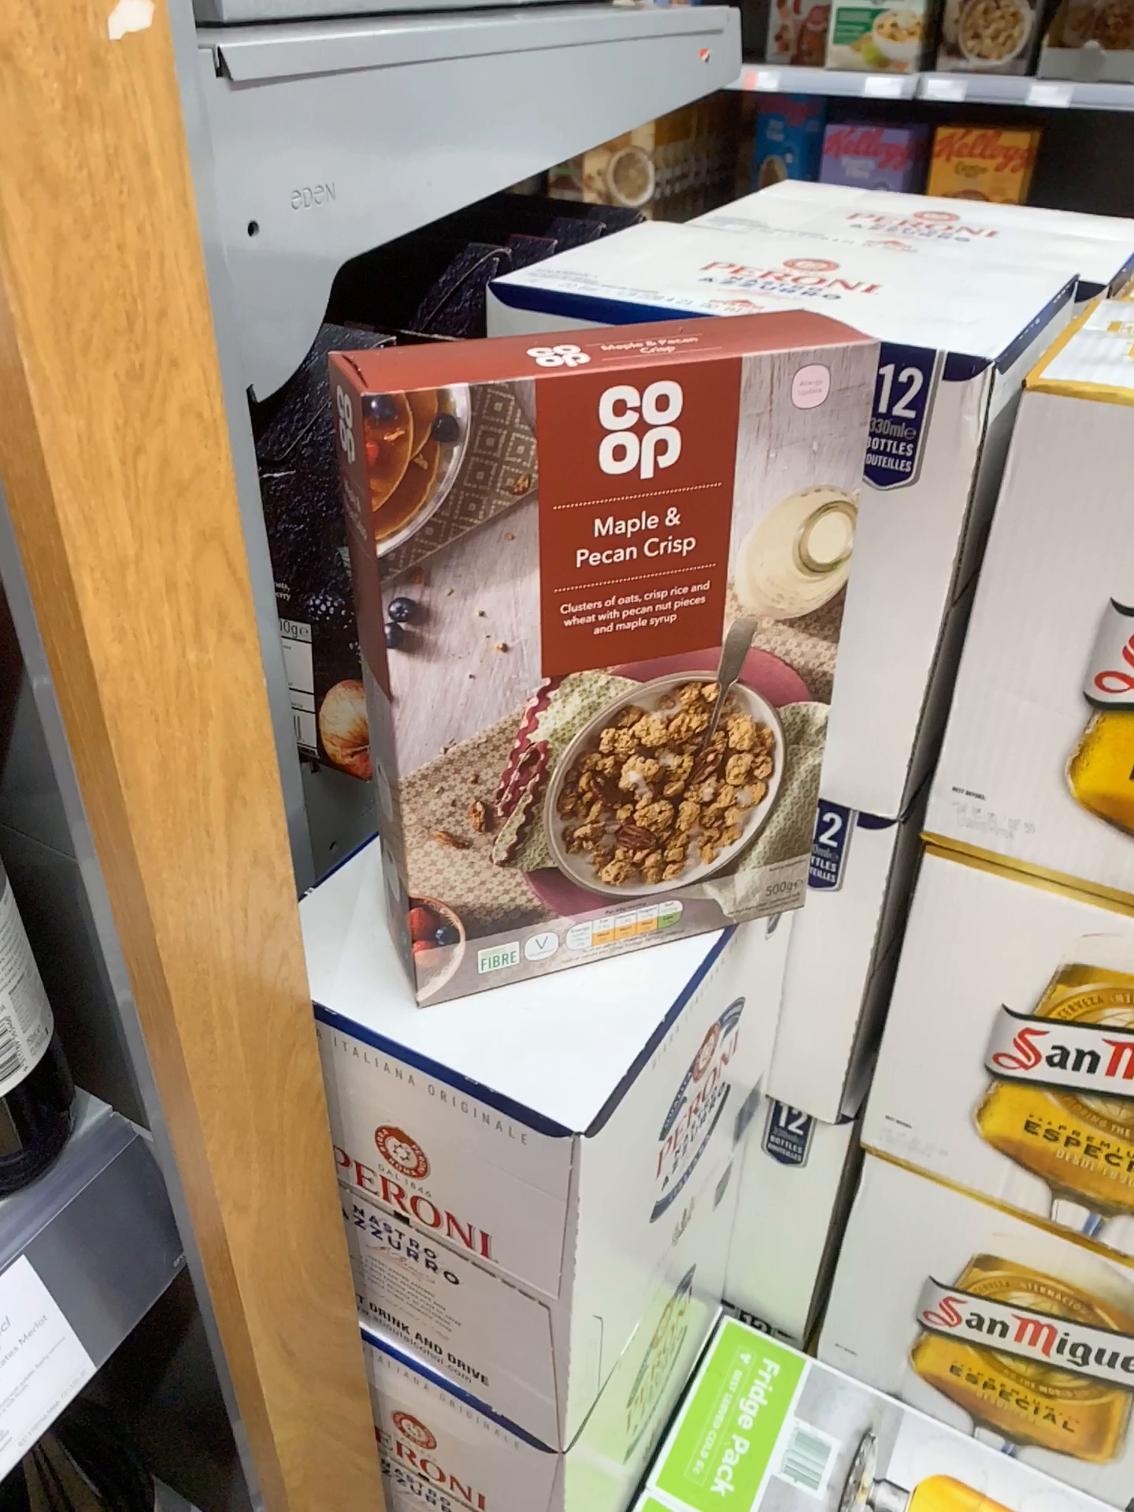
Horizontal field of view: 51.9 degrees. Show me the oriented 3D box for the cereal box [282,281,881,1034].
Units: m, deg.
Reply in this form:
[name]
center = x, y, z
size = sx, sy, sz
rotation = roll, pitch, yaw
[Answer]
[cereal box]
center = 0.006, -0.033, 0.433
size = 0.180, 0.248, 0.060
rotation = -12, 34, -19
